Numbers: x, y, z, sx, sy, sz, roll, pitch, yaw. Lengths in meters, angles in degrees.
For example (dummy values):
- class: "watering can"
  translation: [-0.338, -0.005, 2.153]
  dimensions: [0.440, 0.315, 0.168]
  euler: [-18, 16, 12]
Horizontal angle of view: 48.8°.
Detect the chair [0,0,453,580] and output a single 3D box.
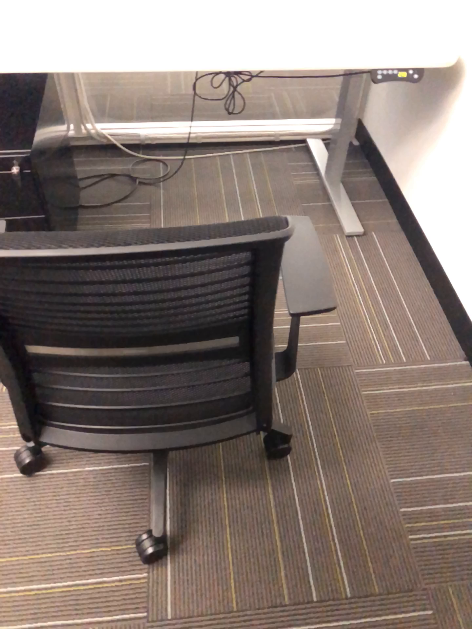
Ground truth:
- class: "chair"
  translation: [-0.204, -0.026, 1.027]
  dimensions: [0.720, 0.907, 0.683]
  euler: [-4, 48, -6]
